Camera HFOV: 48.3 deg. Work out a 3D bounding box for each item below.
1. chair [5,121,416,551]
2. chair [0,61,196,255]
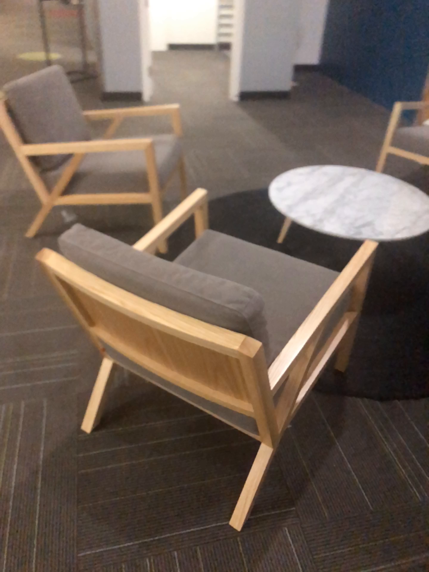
[{"bbox_3d":[0.051,0.067,1.494,0.721,0.753,0.877,22,45,25],"label":"chair"},{"bbox_3d":[-0.568,-0.702,2.539,0.800,0.773,0.727,3,35,6],"label":"chair"}]
